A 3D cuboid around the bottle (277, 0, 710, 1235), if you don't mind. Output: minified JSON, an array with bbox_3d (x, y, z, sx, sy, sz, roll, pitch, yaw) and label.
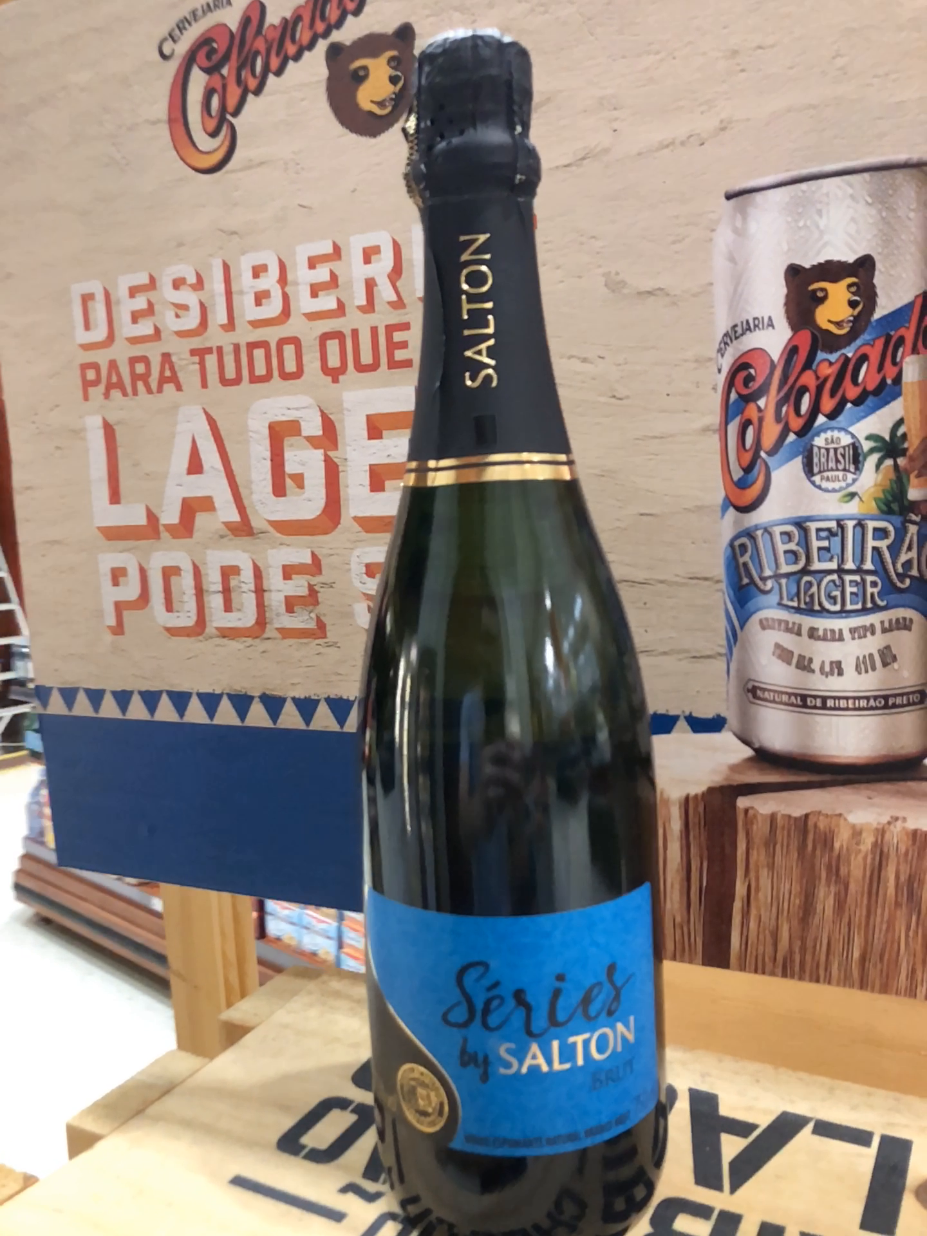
[{"bbox_3d":[0.009,-0.001,0.277,0.090,0.319,0.080,-2,5,-1],"label":"bottle"}]
